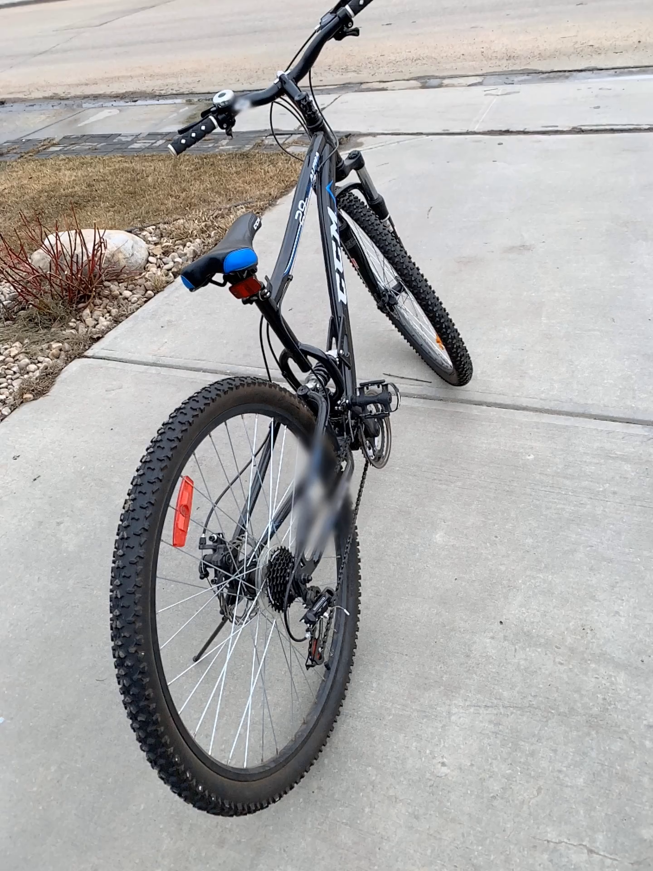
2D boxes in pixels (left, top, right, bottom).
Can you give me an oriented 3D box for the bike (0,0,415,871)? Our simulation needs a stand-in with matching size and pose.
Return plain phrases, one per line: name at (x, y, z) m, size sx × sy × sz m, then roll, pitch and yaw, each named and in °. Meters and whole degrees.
bike at (-0.176, -0.225, 1.502) m, size 0.627 × 1.173 × 1.798 m, roll 0°, pitch 41°, yaw 12°
